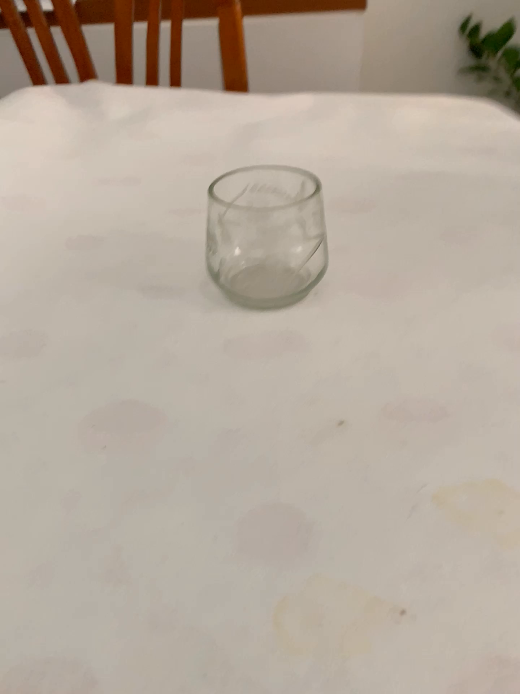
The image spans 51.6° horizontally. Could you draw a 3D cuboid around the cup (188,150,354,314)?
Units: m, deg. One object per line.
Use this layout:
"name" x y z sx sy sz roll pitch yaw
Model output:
"cup" 0.005 -0.068 0.308 0.080 0.060 0.080 -2 37 1
